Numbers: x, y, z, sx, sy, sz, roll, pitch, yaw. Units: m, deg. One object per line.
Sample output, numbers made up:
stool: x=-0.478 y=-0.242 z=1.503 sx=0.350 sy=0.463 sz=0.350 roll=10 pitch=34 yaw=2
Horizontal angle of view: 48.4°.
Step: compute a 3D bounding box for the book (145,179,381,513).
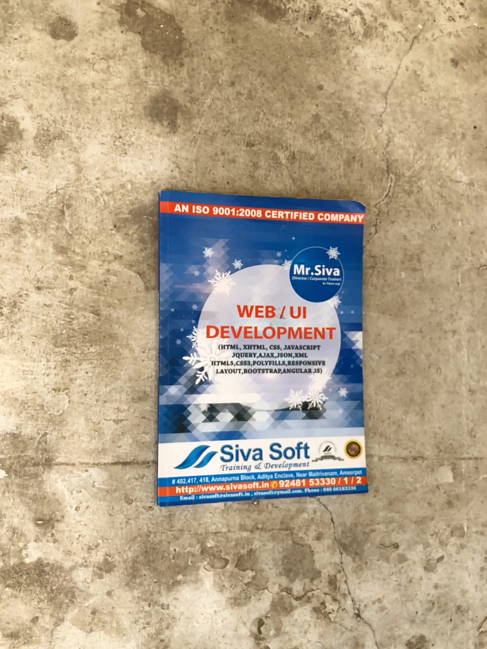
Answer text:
book: x=0.019 y=0.018 z=0.492 sx=0.210 sy=0.030 sz=0.280 roll=1 pitch=87 yaw=-12
